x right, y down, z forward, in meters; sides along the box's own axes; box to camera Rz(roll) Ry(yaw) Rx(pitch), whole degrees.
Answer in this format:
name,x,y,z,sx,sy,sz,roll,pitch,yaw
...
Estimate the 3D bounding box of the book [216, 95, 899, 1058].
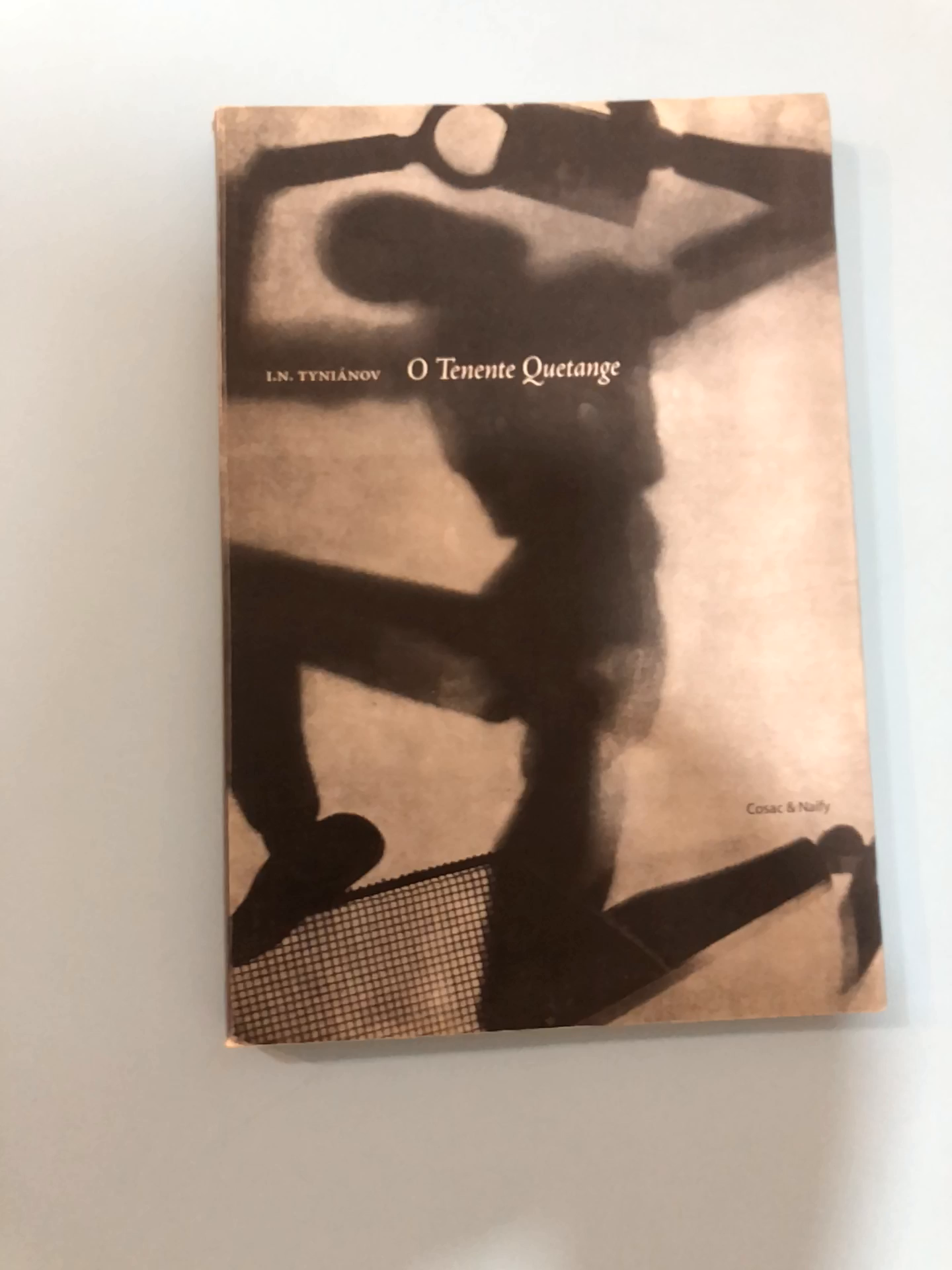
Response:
name,x,y,z,sx,sy,sz,roll,pitch,yaw
book,0.015,-0.016,0.229,0.134,0.016,0.196,-2,86,-2
